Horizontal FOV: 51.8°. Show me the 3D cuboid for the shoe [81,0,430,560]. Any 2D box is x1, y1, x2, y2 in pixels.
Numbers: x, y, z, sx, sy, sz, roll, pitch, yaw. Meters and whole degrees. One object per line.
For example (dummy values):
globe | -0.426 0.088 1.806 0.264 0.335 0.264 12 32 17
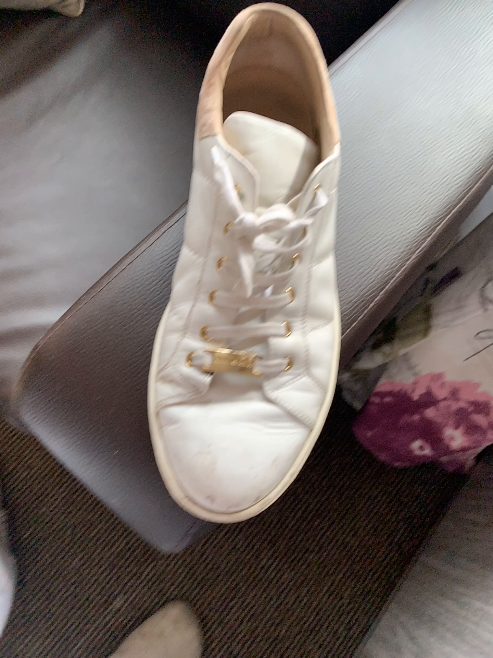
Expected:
shoe | 0.009 -0.045 0.252 0.110 0.110 0.271 5 73 -3
